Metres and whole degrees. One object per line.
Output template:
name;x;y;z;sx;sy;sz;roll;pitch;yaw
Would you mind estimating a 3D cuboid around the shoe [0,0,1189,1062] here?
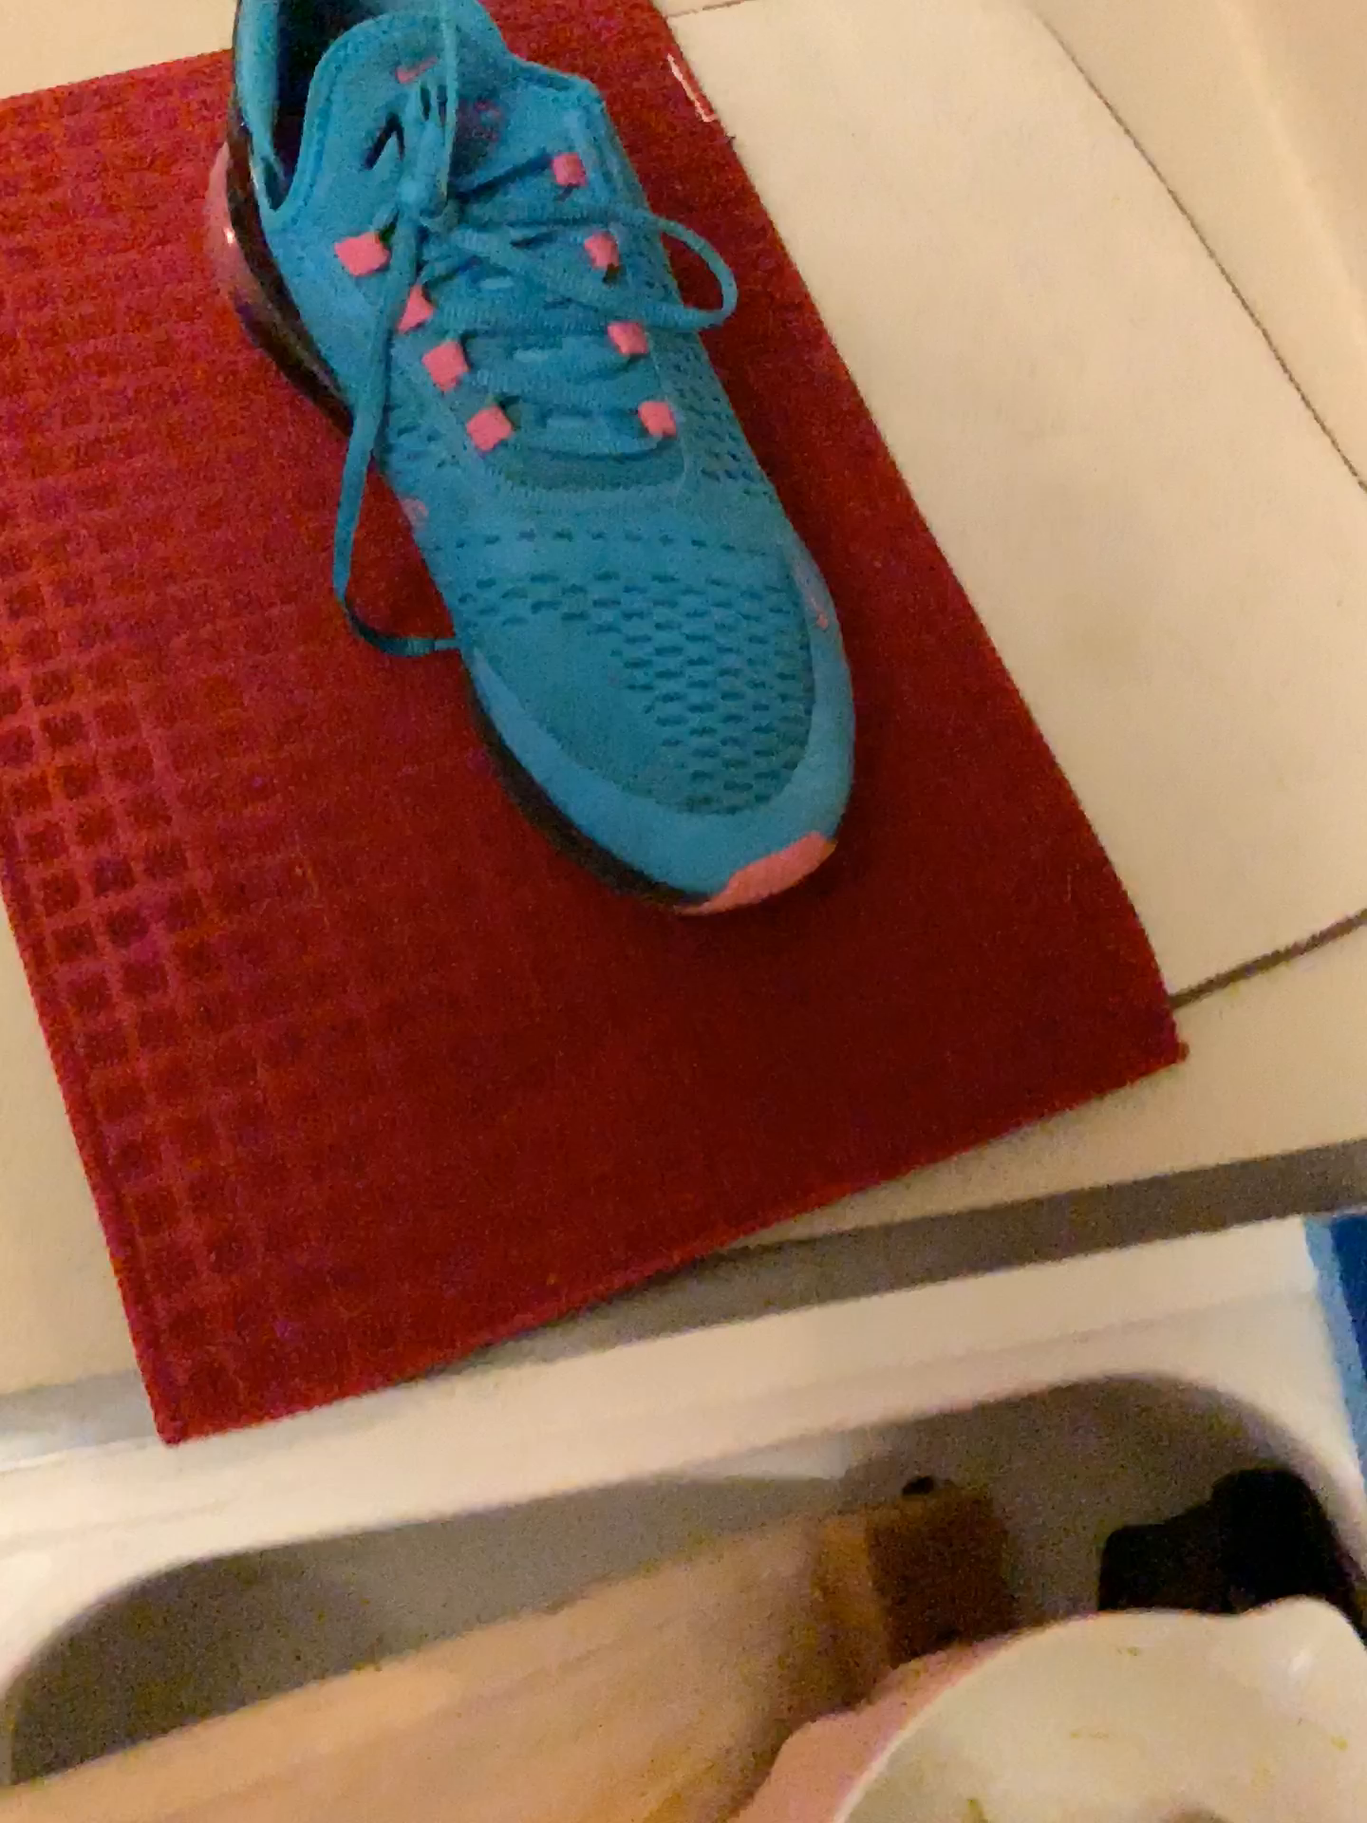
shoe;-0.043;-0.151;0.412;0.150;0.130;0.330;-27;75;-14
